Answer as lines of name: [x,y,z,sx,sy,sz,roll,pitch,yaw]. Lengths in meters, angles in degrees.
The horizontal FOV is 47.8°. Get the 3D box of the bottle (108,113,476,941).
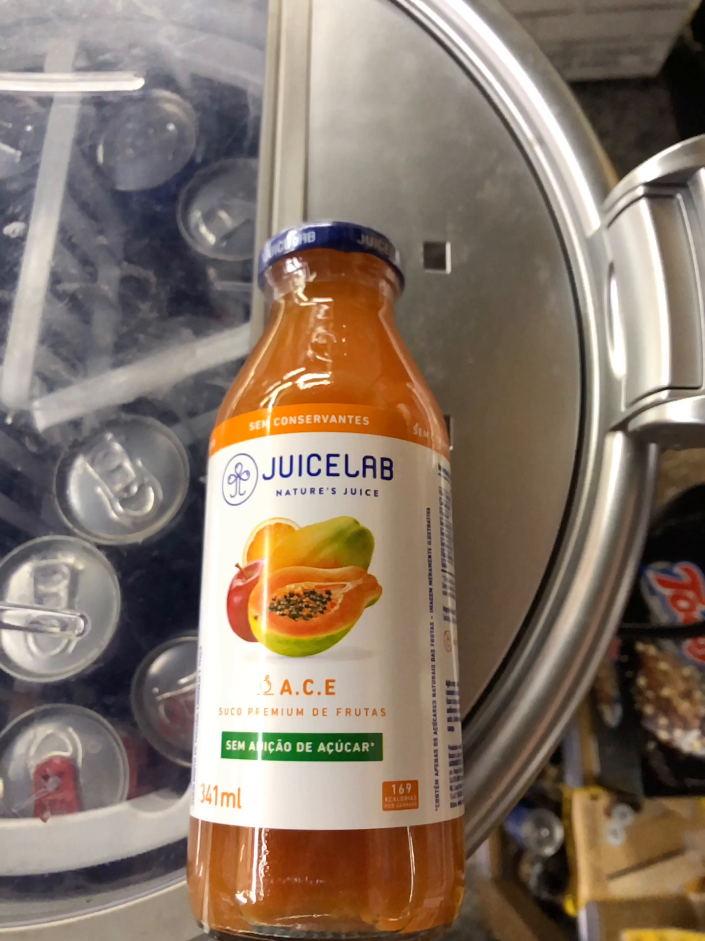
bottle: [-0.008,0.010,0.198,0.070,0.050,0.190,0,75,5]
